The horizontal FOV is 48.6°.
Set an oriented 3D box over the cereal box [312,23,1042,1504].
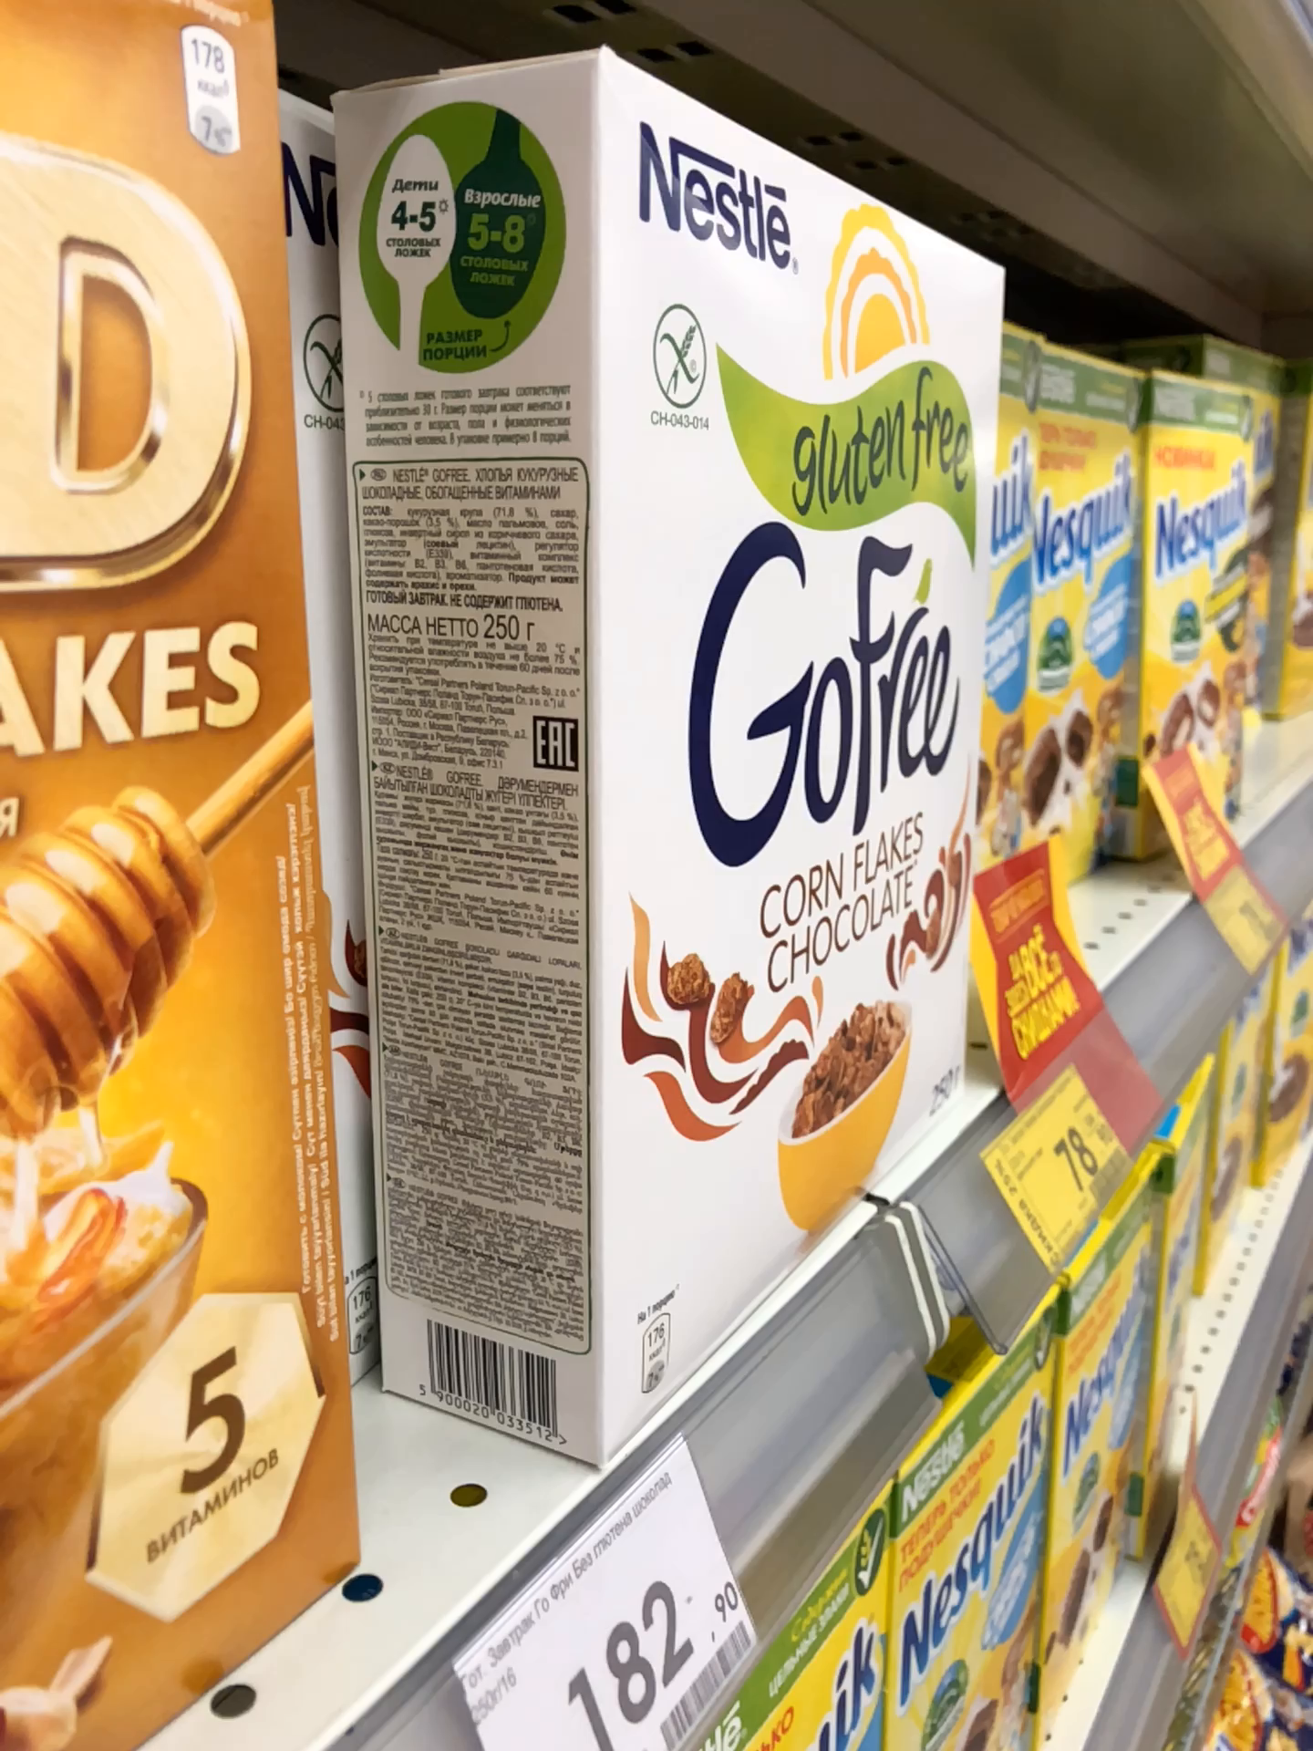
[{"bbox_3d":[0.022,-0.027,0.311,0.050,0.219,0.201,7,14,31],"label":"cereal box"}]
